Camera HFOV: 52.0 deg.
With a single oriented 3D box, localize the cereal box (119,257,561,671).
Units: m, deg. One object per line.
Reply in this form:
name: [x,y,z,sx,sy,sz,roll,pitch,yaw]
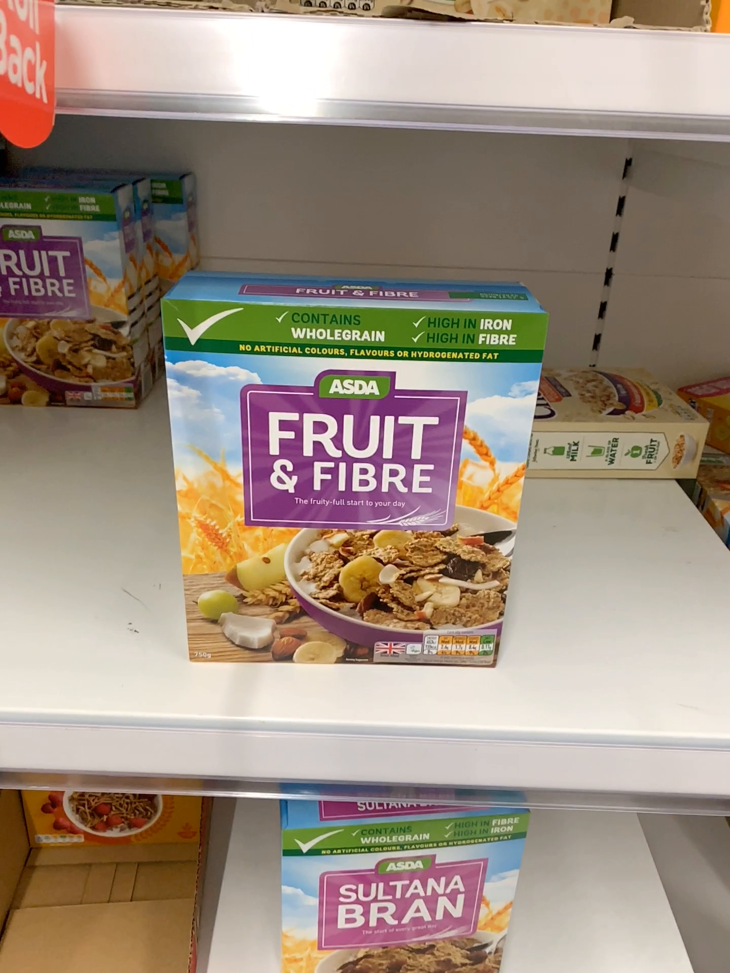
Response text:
cereal box: [-0.017,-0.009,0.498,0.240,0.258,0.081,1,25,-1]
